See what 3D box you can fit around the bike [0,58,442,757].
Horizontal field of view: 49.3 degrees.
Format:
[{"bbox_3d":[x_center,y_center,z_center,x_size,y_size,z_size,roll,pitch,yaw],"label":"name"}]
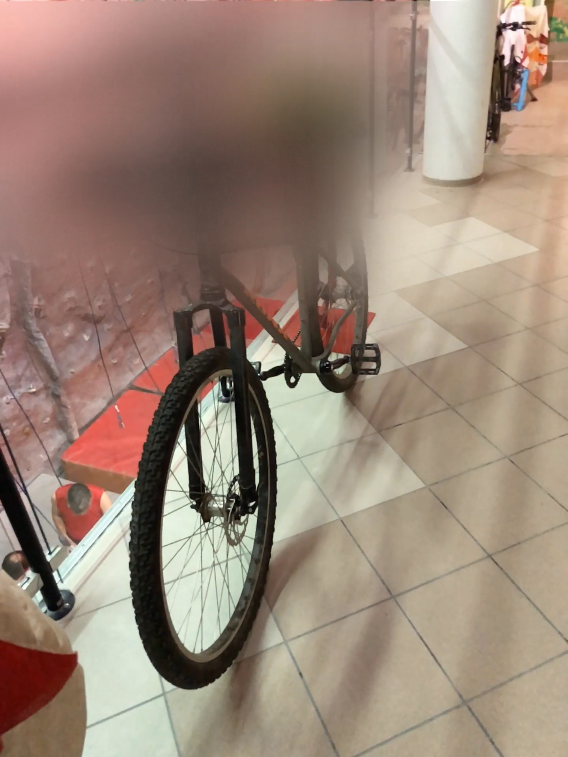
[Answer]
[{"bbox_3d":[-0.057,-0.212,1.761,0.749,1.099,1.831,6,32,17],"label":"bike"}]
